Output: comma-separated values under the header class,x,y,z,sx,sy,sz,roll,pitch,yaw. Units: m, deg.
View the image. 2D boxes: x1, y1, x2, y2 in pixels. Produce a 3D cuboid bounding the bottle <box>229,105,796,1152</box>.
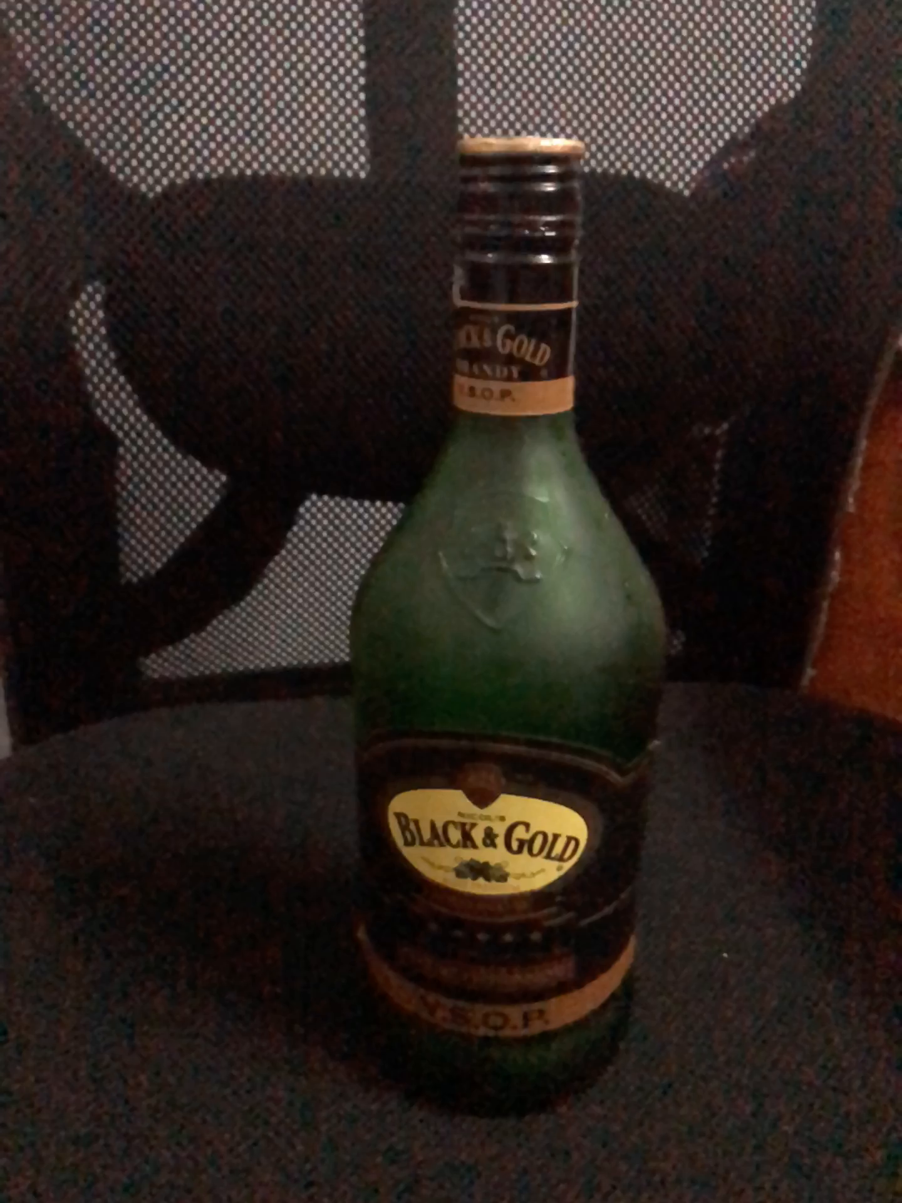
class,x,y,z,sx,sy,sz,roll,pitch,yaw
bottle,0.010,0.015,0.283,0.110,0.269,0.080,7,24,8
